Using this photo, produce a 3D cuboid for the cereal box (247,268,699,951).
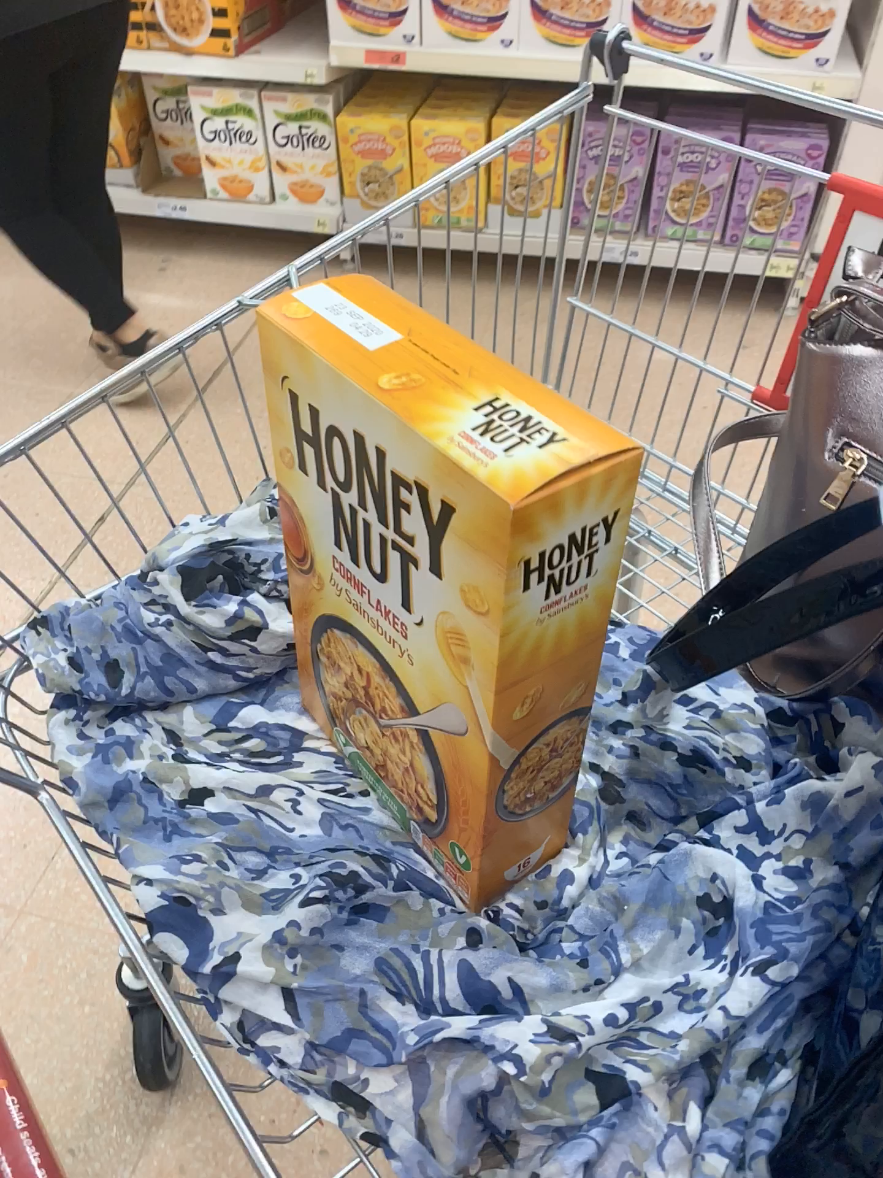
[{"bbox_3d":[-0.001,0.018,0.487,0.080,0.298,0.211,-26,49,-28],"label":"cereal box"}]
